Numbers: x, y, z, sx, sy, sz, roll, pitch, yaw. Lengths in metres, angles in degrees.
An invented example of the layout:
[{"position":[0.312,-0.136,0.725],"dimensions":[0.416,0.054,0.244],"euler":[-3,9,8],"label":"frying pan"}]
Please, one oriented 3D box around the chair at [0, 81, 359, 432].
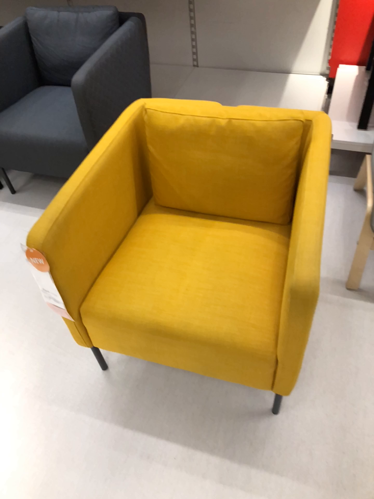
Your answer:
[{"position":[0.052,0.000,1.240],"dimensions":[0.721,0.696,0.664],"euler":[10,49,15],"label":"chair"}]
